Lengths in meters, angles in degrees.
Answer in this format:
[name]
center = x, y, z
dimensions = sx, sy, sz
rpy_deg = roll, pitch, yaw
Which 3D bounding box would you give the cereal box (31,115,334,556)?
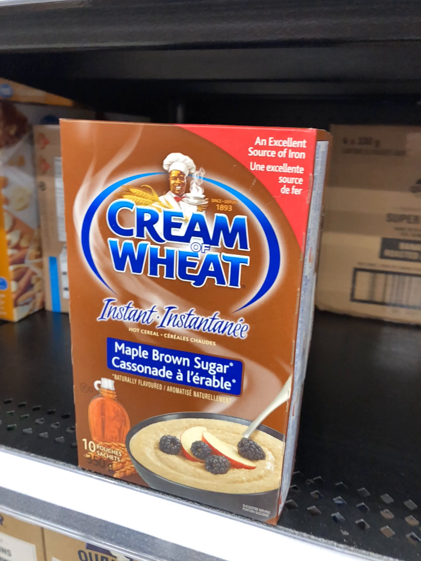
[cereal box]
center = -0.014, 0.023, 0.254
dimensions = 0.130, 0.209, 0.060
rpy_deg = 7, 18, 18
